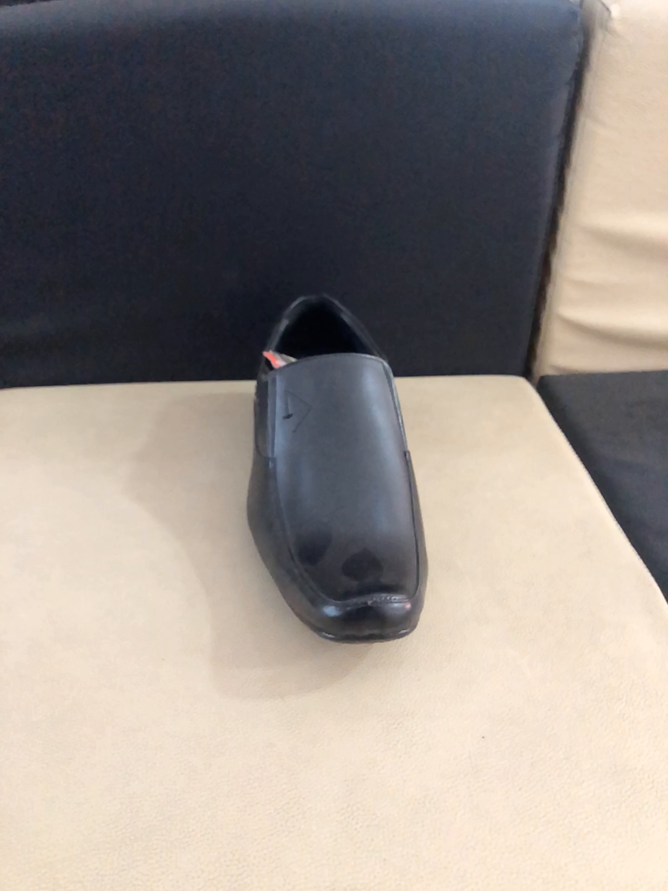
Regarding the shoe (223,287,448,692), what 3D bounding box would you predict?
[{"bbox_3d":[-0.016,0.001,0.457,0.090,0.090,0.281,-5,34,-7],"label":"shoe"}]
